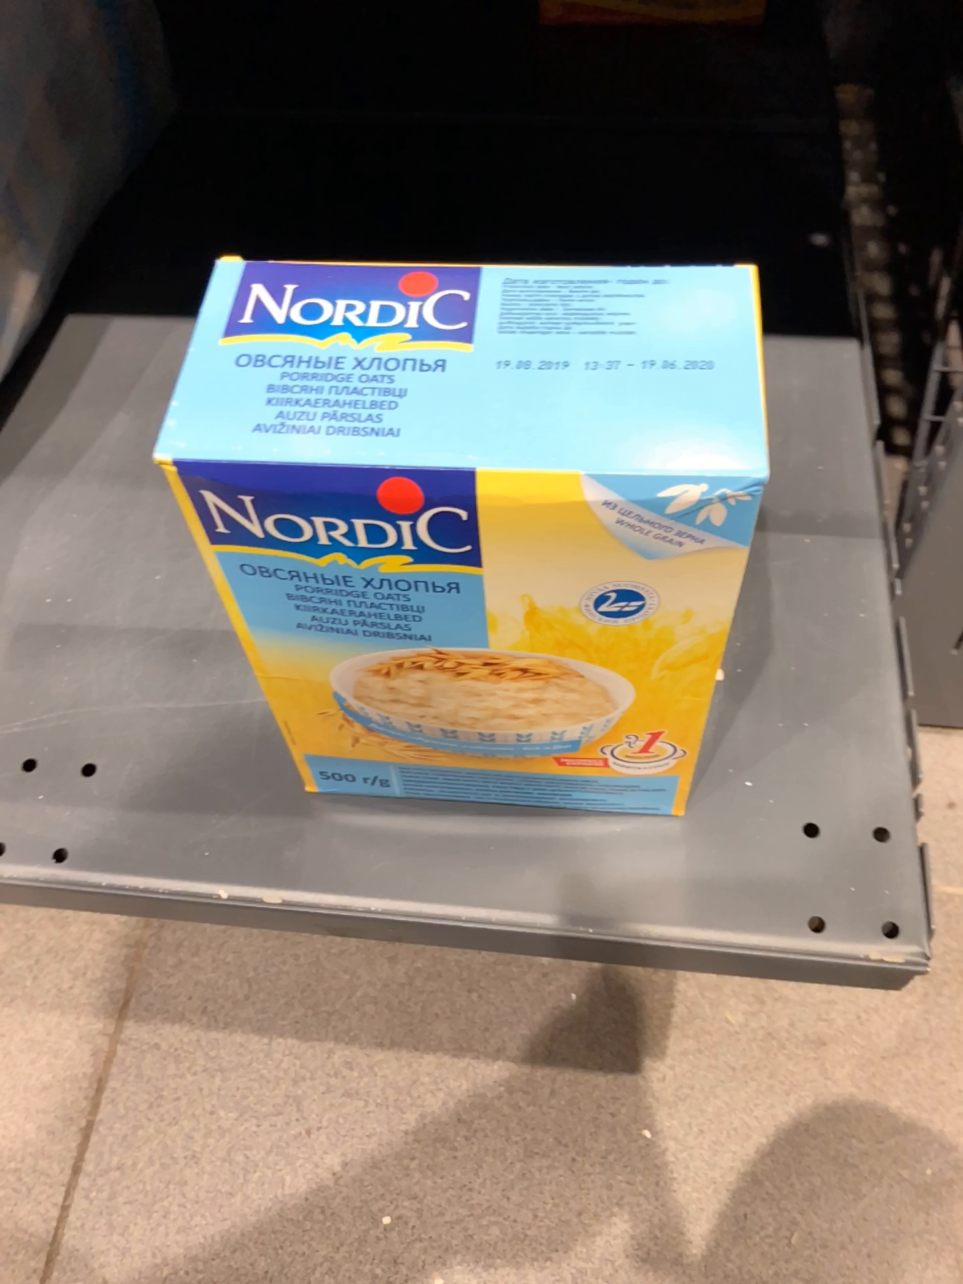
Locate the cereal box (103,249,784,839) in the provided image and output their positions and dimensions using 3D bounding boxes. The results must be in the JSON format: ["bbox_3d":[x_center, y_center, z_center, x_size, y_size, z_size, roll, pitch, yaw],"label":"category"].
[{"bbox_3d":[-0.003,-0.018,0.330,0.150,0.179,0.081,3,56,5],"label":"cereal box"}]
